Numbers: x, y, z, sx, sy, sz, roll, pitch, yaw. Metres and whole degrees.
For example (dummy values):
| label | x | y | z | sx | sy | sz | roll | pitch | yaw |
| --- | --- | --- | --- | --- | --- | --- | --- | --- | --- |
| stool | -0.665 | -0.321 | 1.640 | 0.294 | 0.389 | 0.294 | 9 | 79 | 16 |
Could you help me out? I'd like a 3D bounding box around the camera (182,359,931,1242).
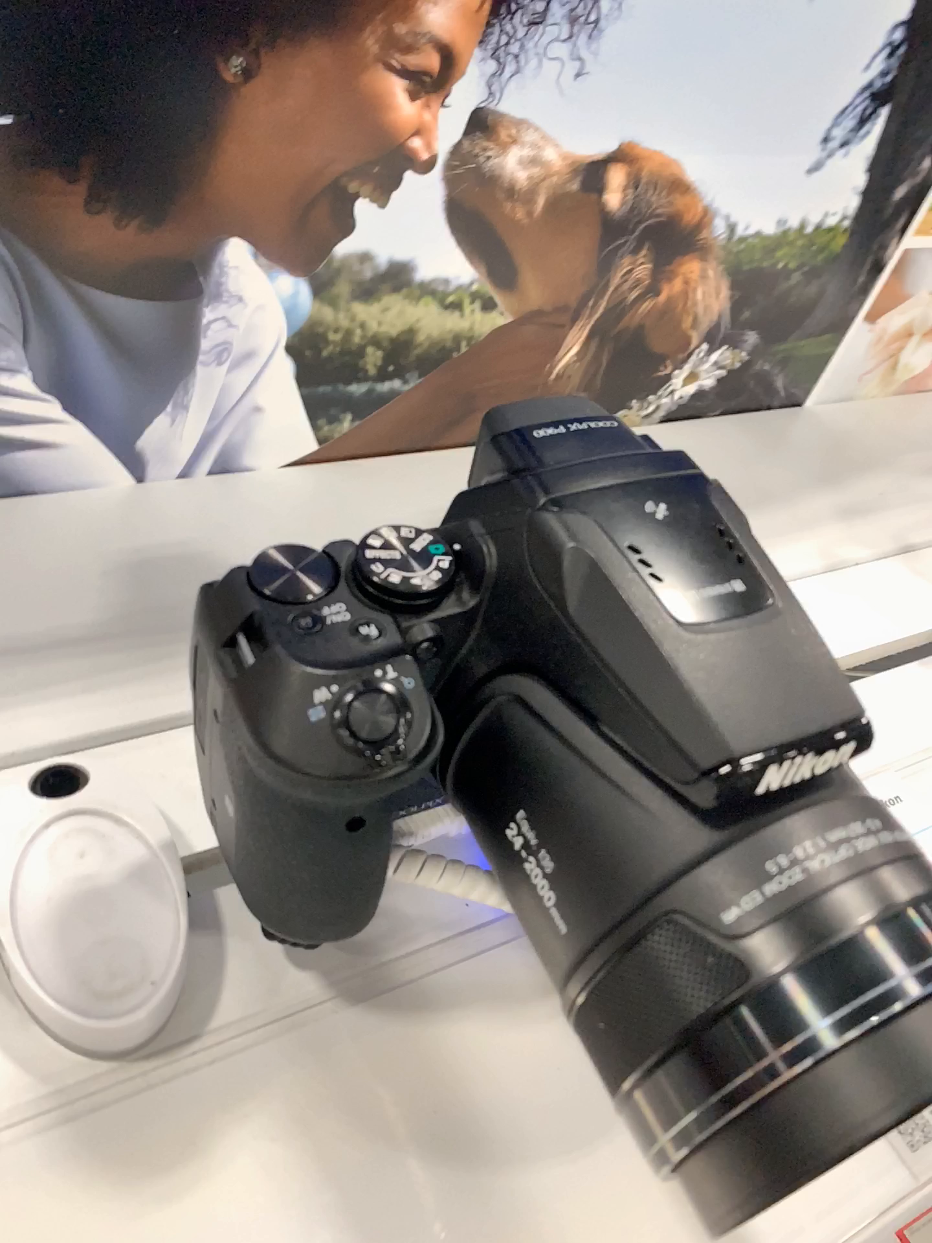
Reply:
| label | x | y | z | sx | sy | sz | roll | pitch | yaw |
| --- | --- | --- | --- | --- | --- | --- | --- | --- | --- |
| camera | 0.034 | 0.031 | 0.202 | 0.140 | 0.099 | 0.153 | -11 | 47 | -29 |
